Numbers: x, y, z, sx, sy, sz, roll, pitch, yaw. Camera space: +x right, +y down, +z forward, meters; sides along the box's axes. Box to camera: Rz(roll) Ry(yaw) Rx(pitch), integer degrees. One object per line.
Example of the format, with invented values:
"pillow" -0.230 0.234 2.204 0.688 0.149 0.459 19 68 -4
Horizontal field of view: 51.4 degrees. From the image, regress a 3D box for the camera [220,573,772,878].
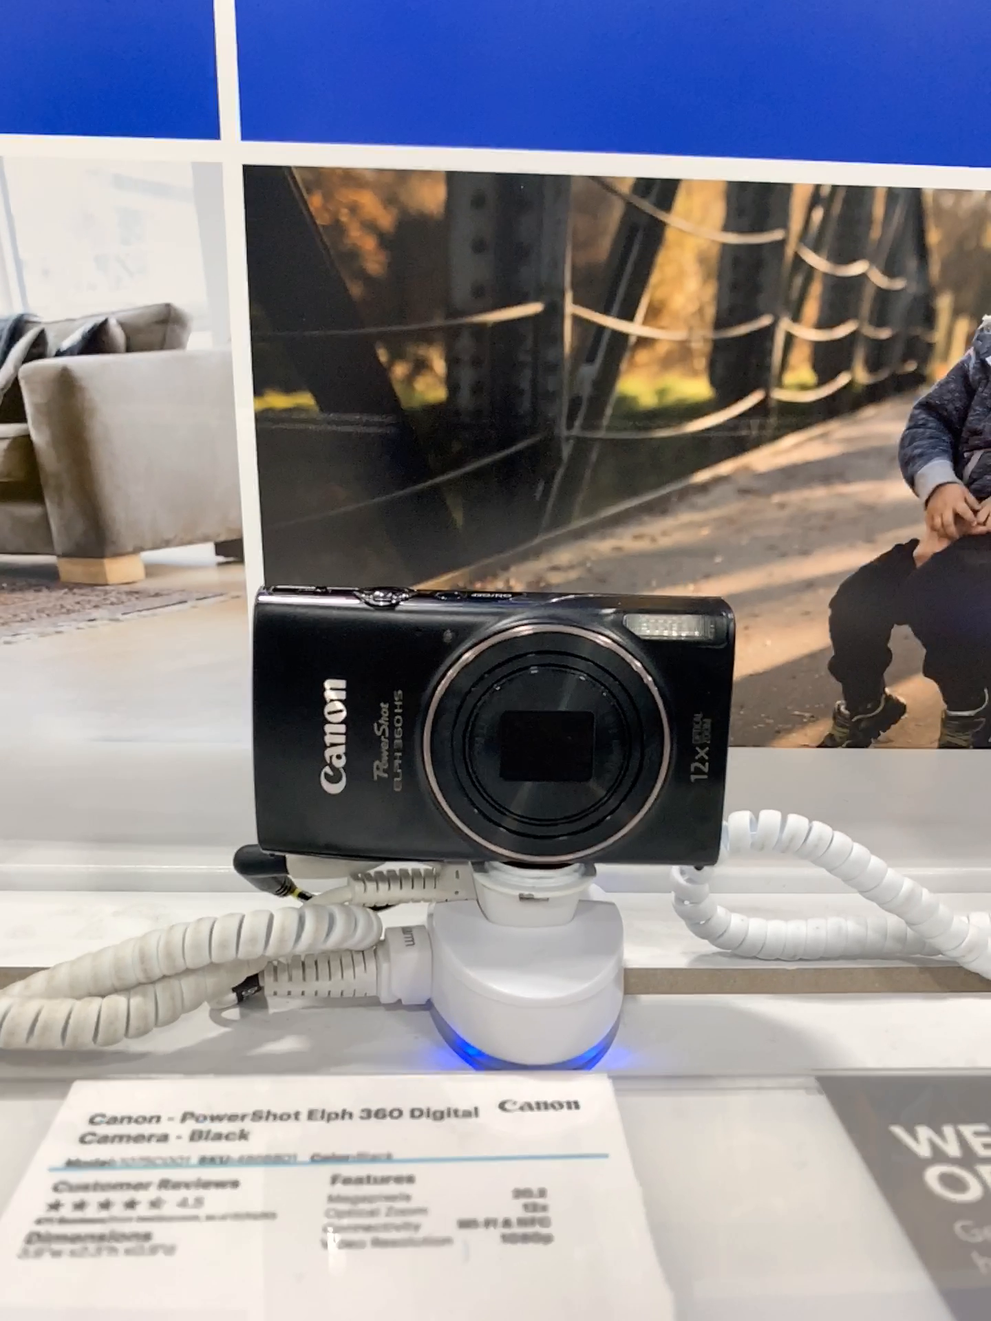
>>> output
"camera" -0.001 0.013 0.215 0.106 0.056 0.027 2 10 -3
